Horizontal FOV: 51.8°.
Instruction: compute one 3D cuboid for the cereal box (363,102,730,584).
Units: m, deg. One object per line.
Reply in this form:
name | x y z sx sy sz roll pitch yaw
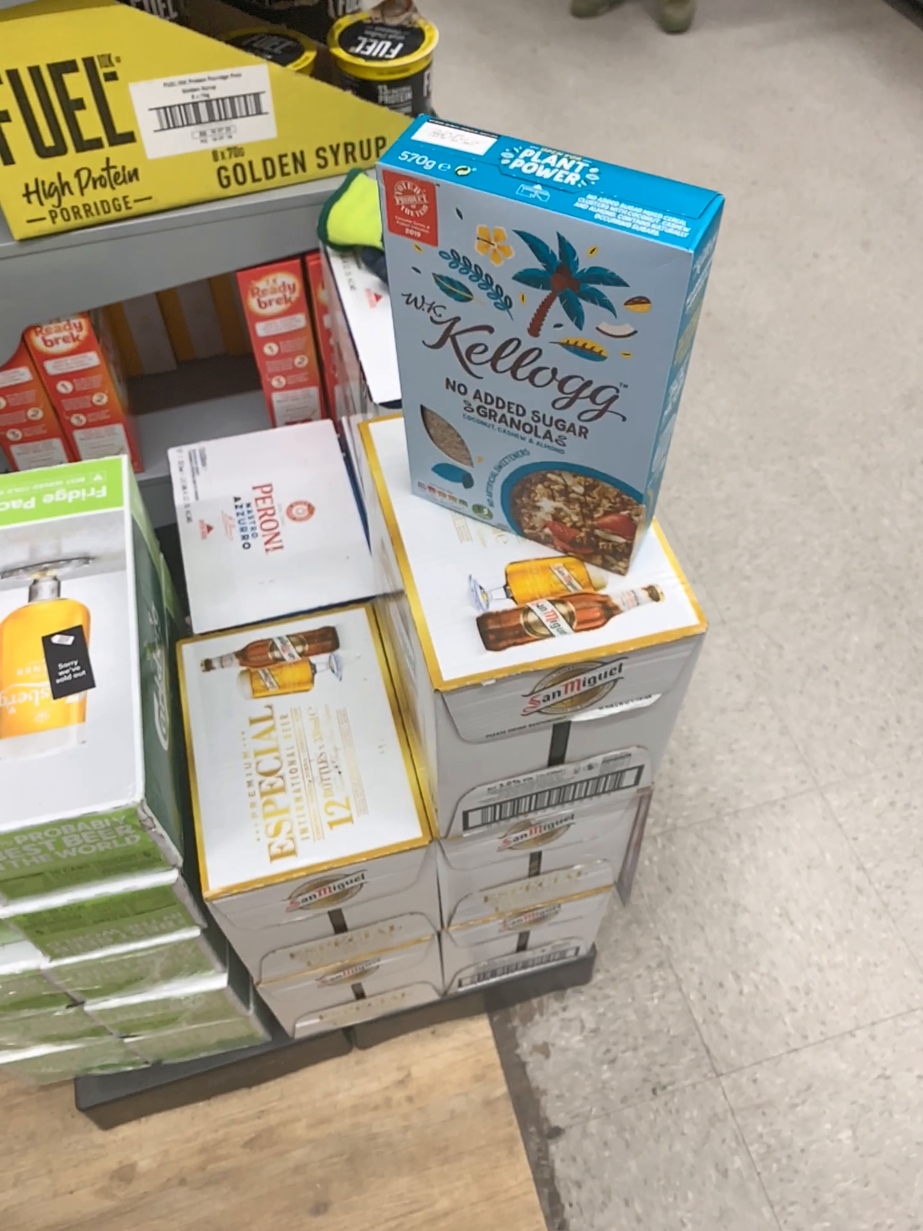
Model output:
cereal box | 0.041 -0.136 0.536 0.160 0.248 0.050 23 61 16
